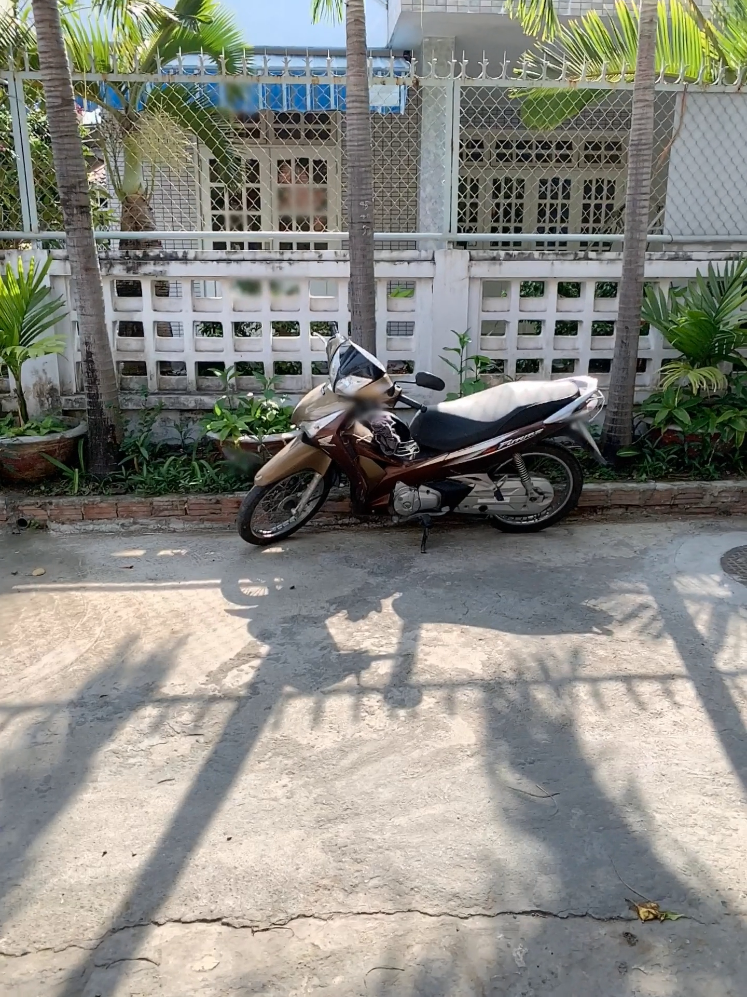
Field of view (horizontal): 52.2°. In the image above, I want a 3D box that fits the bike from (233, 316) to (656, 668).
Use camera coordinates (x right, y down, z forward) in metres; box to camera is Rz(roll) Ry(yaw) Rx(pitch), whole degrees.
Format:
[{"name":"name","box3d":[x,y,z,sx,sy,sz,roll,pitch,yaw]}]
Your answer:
[{"name":"bike","box3d":[0.335,-0.123,3.779,1.975,1.443,0.614,-5,17,-16]}]
